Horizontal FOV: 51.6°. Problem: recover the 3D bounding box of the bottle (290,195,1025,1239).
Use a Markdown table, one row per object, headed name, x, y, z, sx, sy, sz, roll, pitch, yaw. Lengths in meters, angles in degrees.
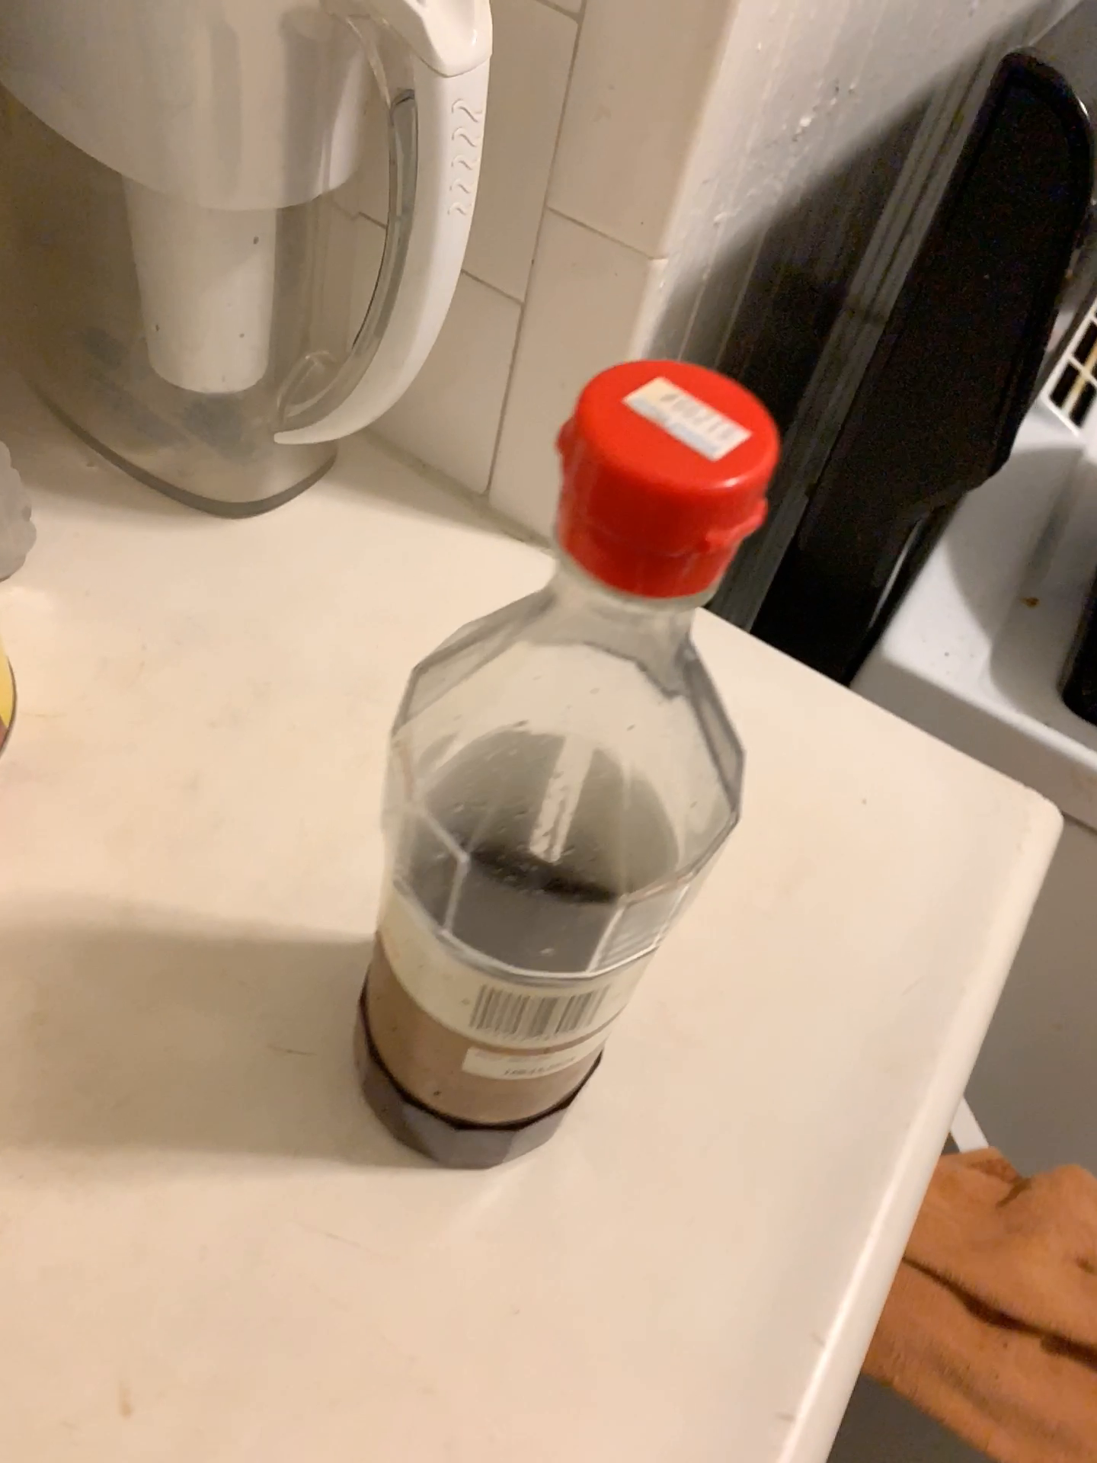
| name | x | y | z | sx | sy | sz | roll | pitch | yaw |
| --- | --- | --- | --- | --- | --- | --- | --- | --- | --- |
| bottle | 0.002 | 0.028 | 0.278 | 0.090 | 0.259 | 0.090 | 7 | 52 | -9 |
